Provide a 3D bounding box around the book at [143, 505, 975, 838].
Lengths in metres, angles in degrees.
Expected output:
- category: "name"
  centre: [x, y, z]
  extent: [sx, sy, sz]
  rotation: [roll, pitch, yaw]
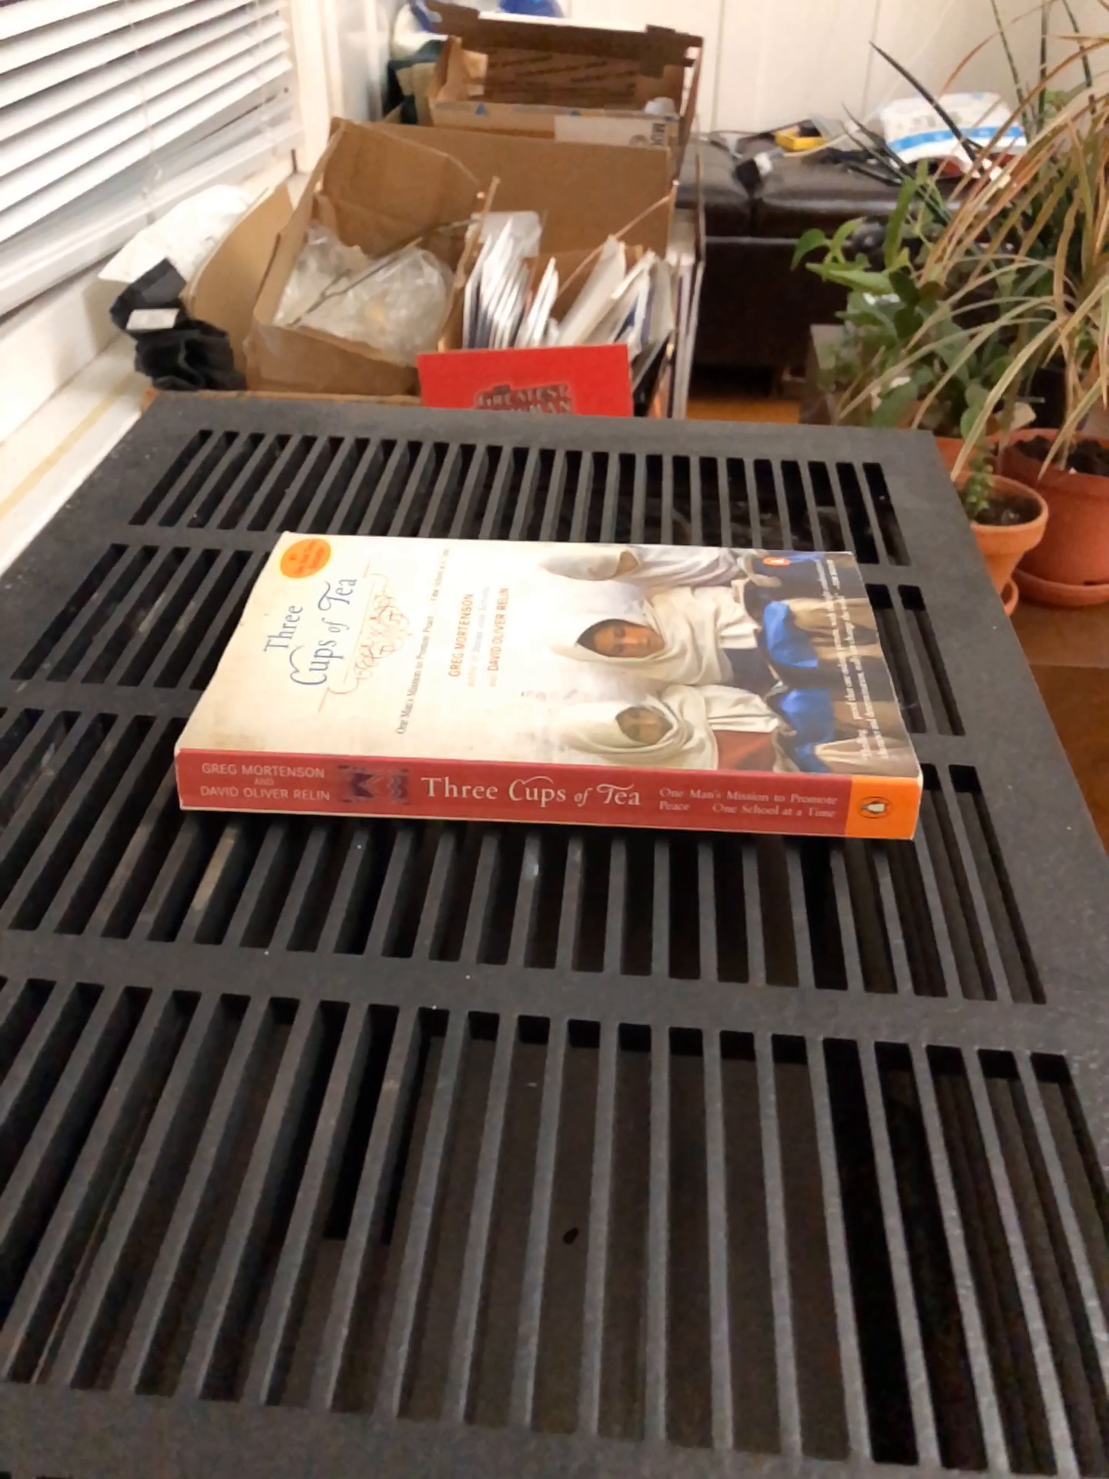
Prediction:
- category: "book"
  centre: [0.002, -0.028, 0.389]
  extent: [0.220, 0.030, 0.141]
  rotation: [1, 37, 1]
